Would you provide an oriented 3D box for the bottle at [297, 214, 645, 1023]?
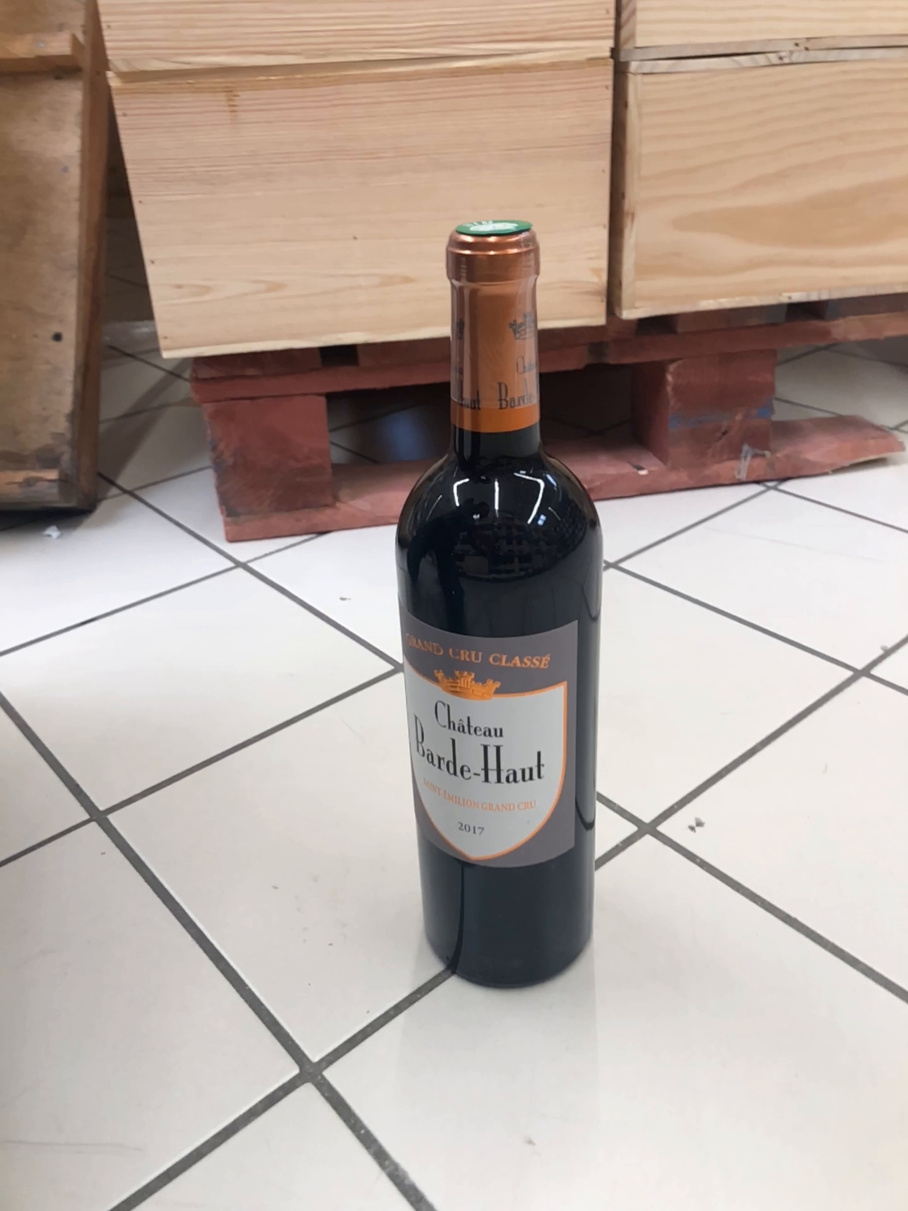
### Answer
[{"bbox_3d":[0.014,0.014,0.374,0.080,0.288,0.081,-2,29,1],"label":"bottle"}]
